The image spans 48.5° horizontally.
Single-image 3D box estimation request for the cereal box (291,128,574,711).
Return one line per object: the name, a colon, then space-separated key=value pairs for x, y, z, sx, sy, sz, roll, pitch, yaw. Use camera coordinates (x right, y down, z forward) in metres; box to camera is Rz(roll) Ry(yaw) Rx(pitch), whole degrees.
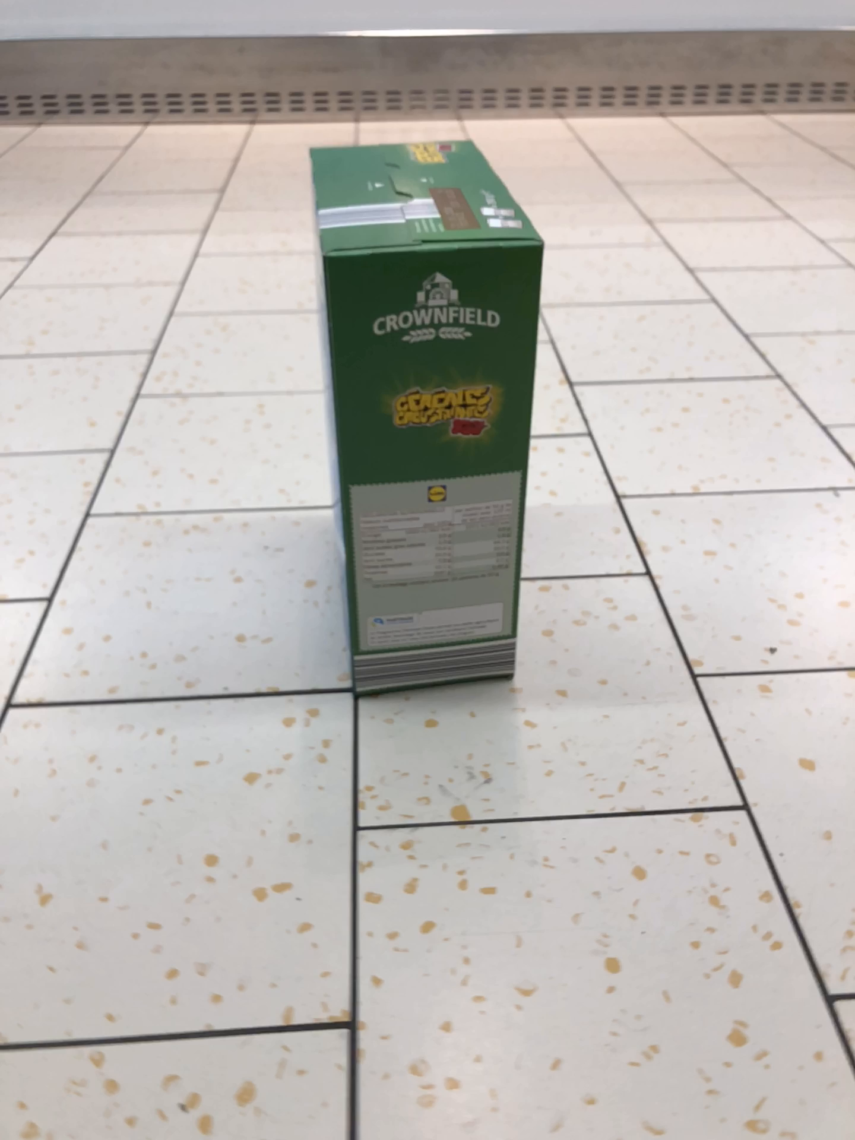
cereal box: x=-0.008 y=-0.092 z=0.548 sx=0.110 sy=0.258 sz=0.211 roll=-5 pitch=36 yaw=-7
